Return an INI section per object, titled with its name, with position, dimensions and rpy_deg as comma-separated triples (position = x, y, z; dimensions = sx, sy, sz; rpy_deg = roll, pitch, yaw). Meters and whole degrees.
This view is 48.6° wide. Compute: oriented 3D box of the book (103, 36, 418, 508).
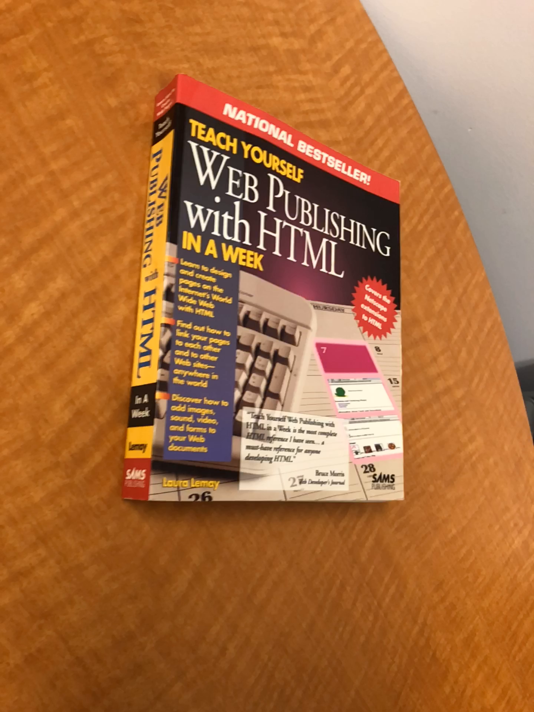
[book]
position = 0.014, -0.034, 0.378
dimensions = 0.211, 0.040, 0.250
rpy_deg = 12, 75, -39
